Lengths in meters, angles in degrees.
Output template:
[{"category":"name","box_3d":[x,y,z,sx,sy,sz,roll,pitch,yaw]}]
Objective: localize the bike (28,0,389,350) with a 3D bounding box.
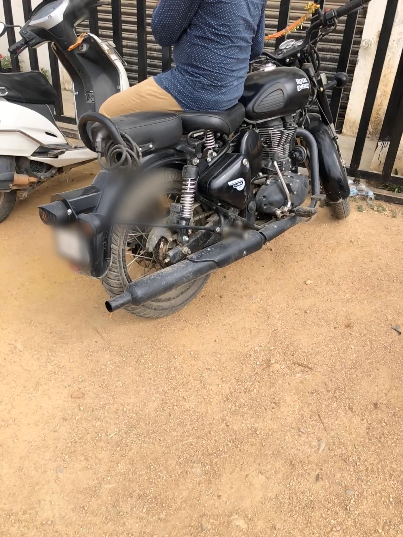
[{"category":"bike","box_3d":[0.152,-0.825,2.150,0.722,1.169,1.817,22,41,28]}]
